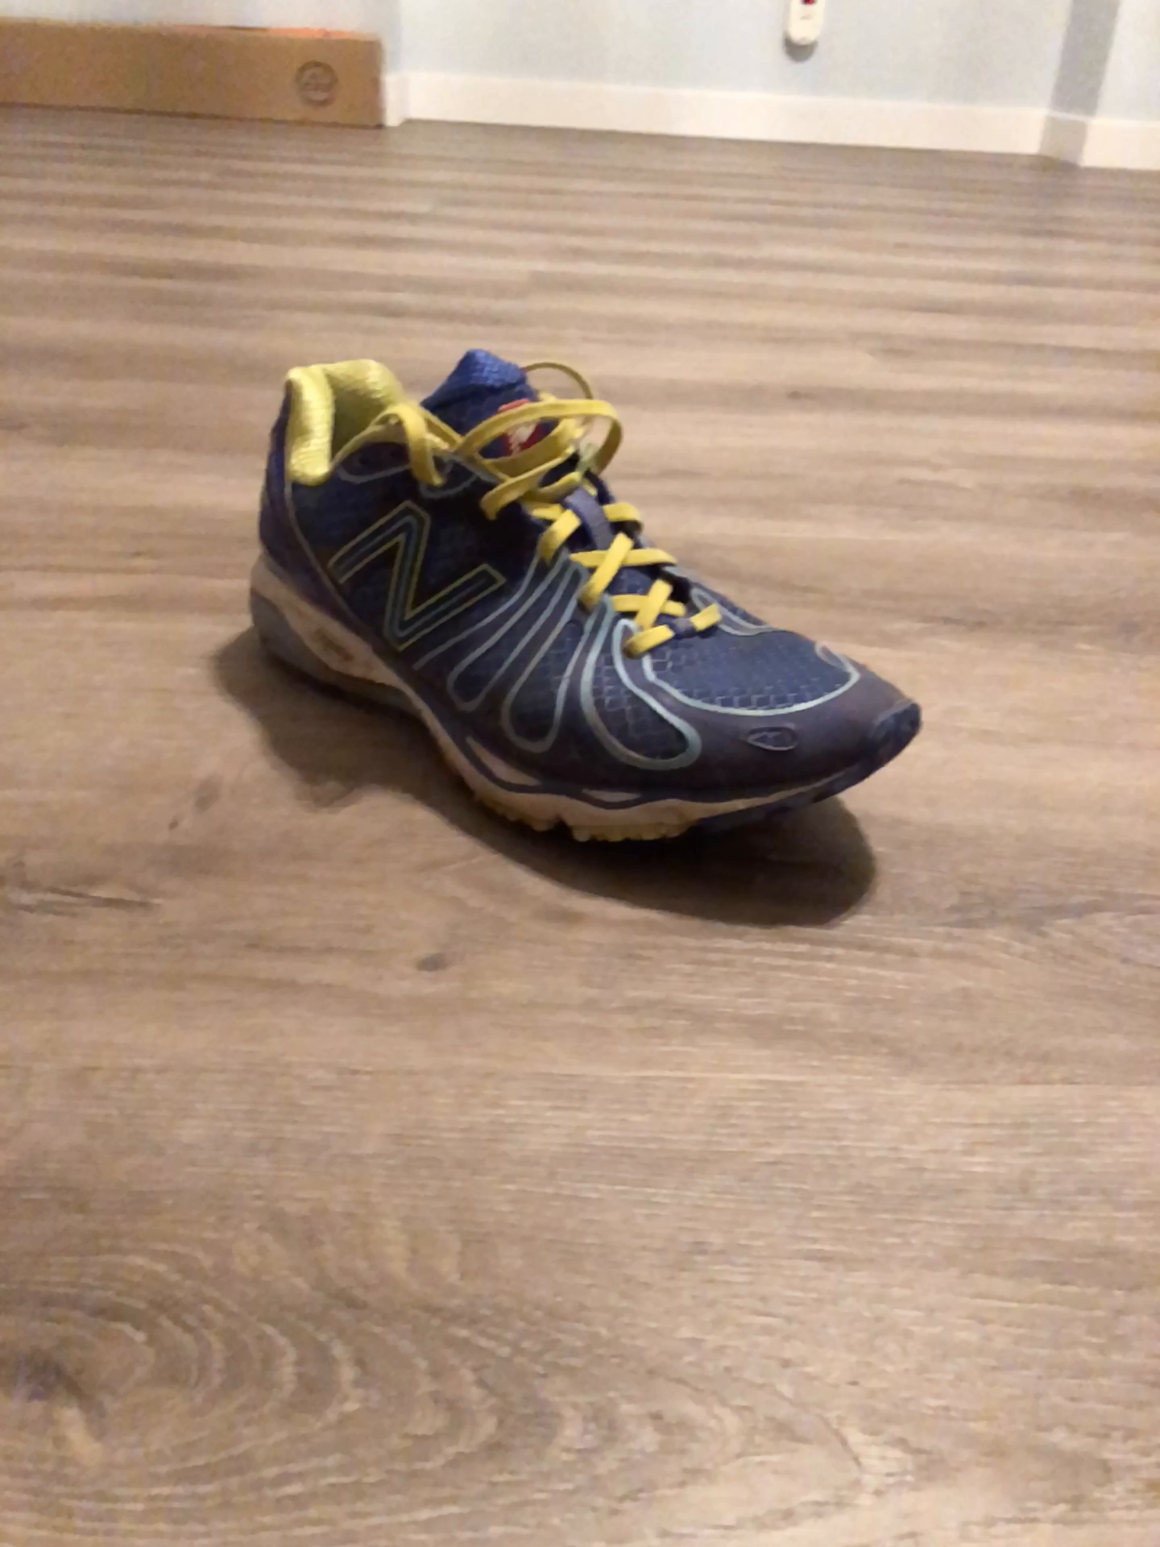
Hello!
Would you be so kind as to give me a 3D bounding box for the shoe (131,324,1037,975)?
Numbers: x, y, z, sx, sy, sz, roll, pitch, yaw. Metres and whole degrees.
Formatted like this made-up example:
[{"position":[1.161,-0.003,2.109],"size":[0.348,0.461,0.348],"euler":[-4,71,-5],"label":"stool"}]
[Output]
[{"position":[-0.013,-0.059,0.394],"size":[0.250,0.099,0.110],"euler":[26,36,34],"label":"shoe"}]
